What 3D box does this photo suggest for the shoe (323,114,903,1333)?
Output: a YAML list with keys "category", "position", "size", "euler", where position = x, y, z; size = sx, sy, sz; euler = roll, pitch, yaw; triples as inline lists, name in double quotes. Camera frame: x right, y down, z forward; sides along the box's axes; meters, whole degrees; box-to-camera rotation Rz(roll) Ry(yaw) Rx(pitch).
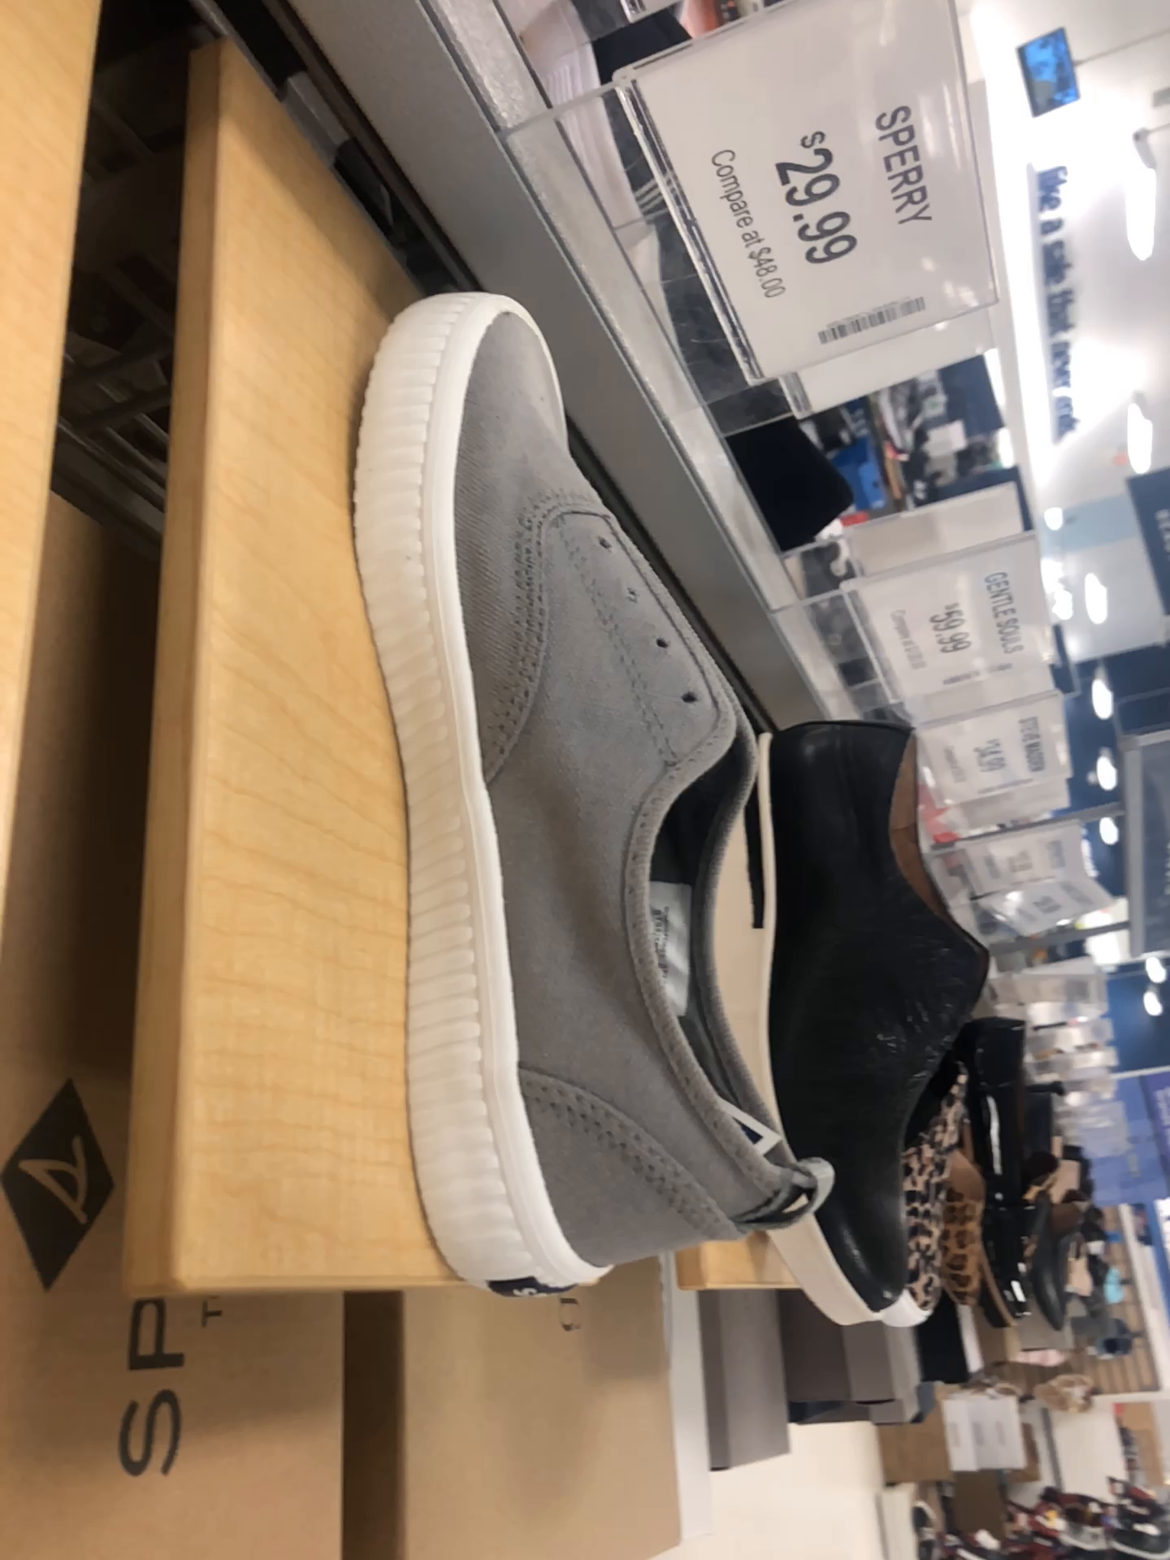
- category: "shoe"
  position: [0.007, -0.012, 0.315]
  size: [0.097, 0.081, 0.251]
  euler: [35, 45, -67]
